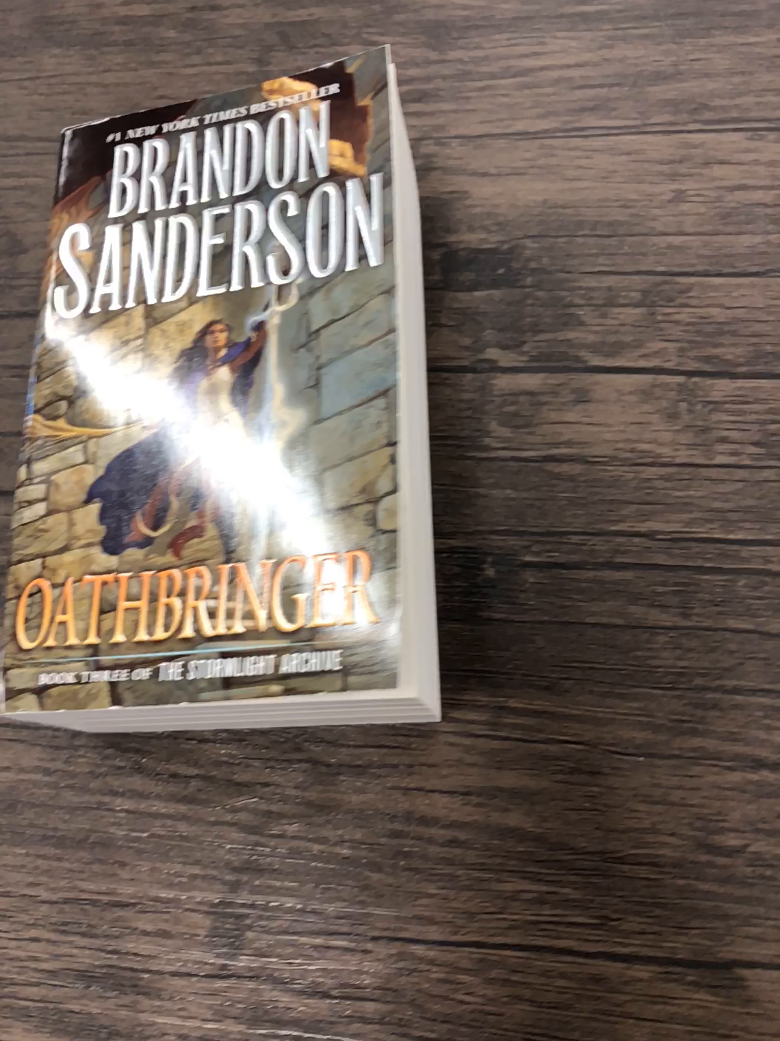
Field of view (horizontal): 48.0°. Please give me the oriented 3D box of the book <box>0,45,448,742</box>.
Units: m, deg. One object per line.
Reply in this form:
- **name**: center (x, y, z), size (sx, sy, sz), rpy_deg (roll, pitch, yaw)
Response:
- **book**: center (-0.045, -0.030, 0.231), size (0.111, 0.058, 0.167), rpy_deg (-3, 72, 7)
